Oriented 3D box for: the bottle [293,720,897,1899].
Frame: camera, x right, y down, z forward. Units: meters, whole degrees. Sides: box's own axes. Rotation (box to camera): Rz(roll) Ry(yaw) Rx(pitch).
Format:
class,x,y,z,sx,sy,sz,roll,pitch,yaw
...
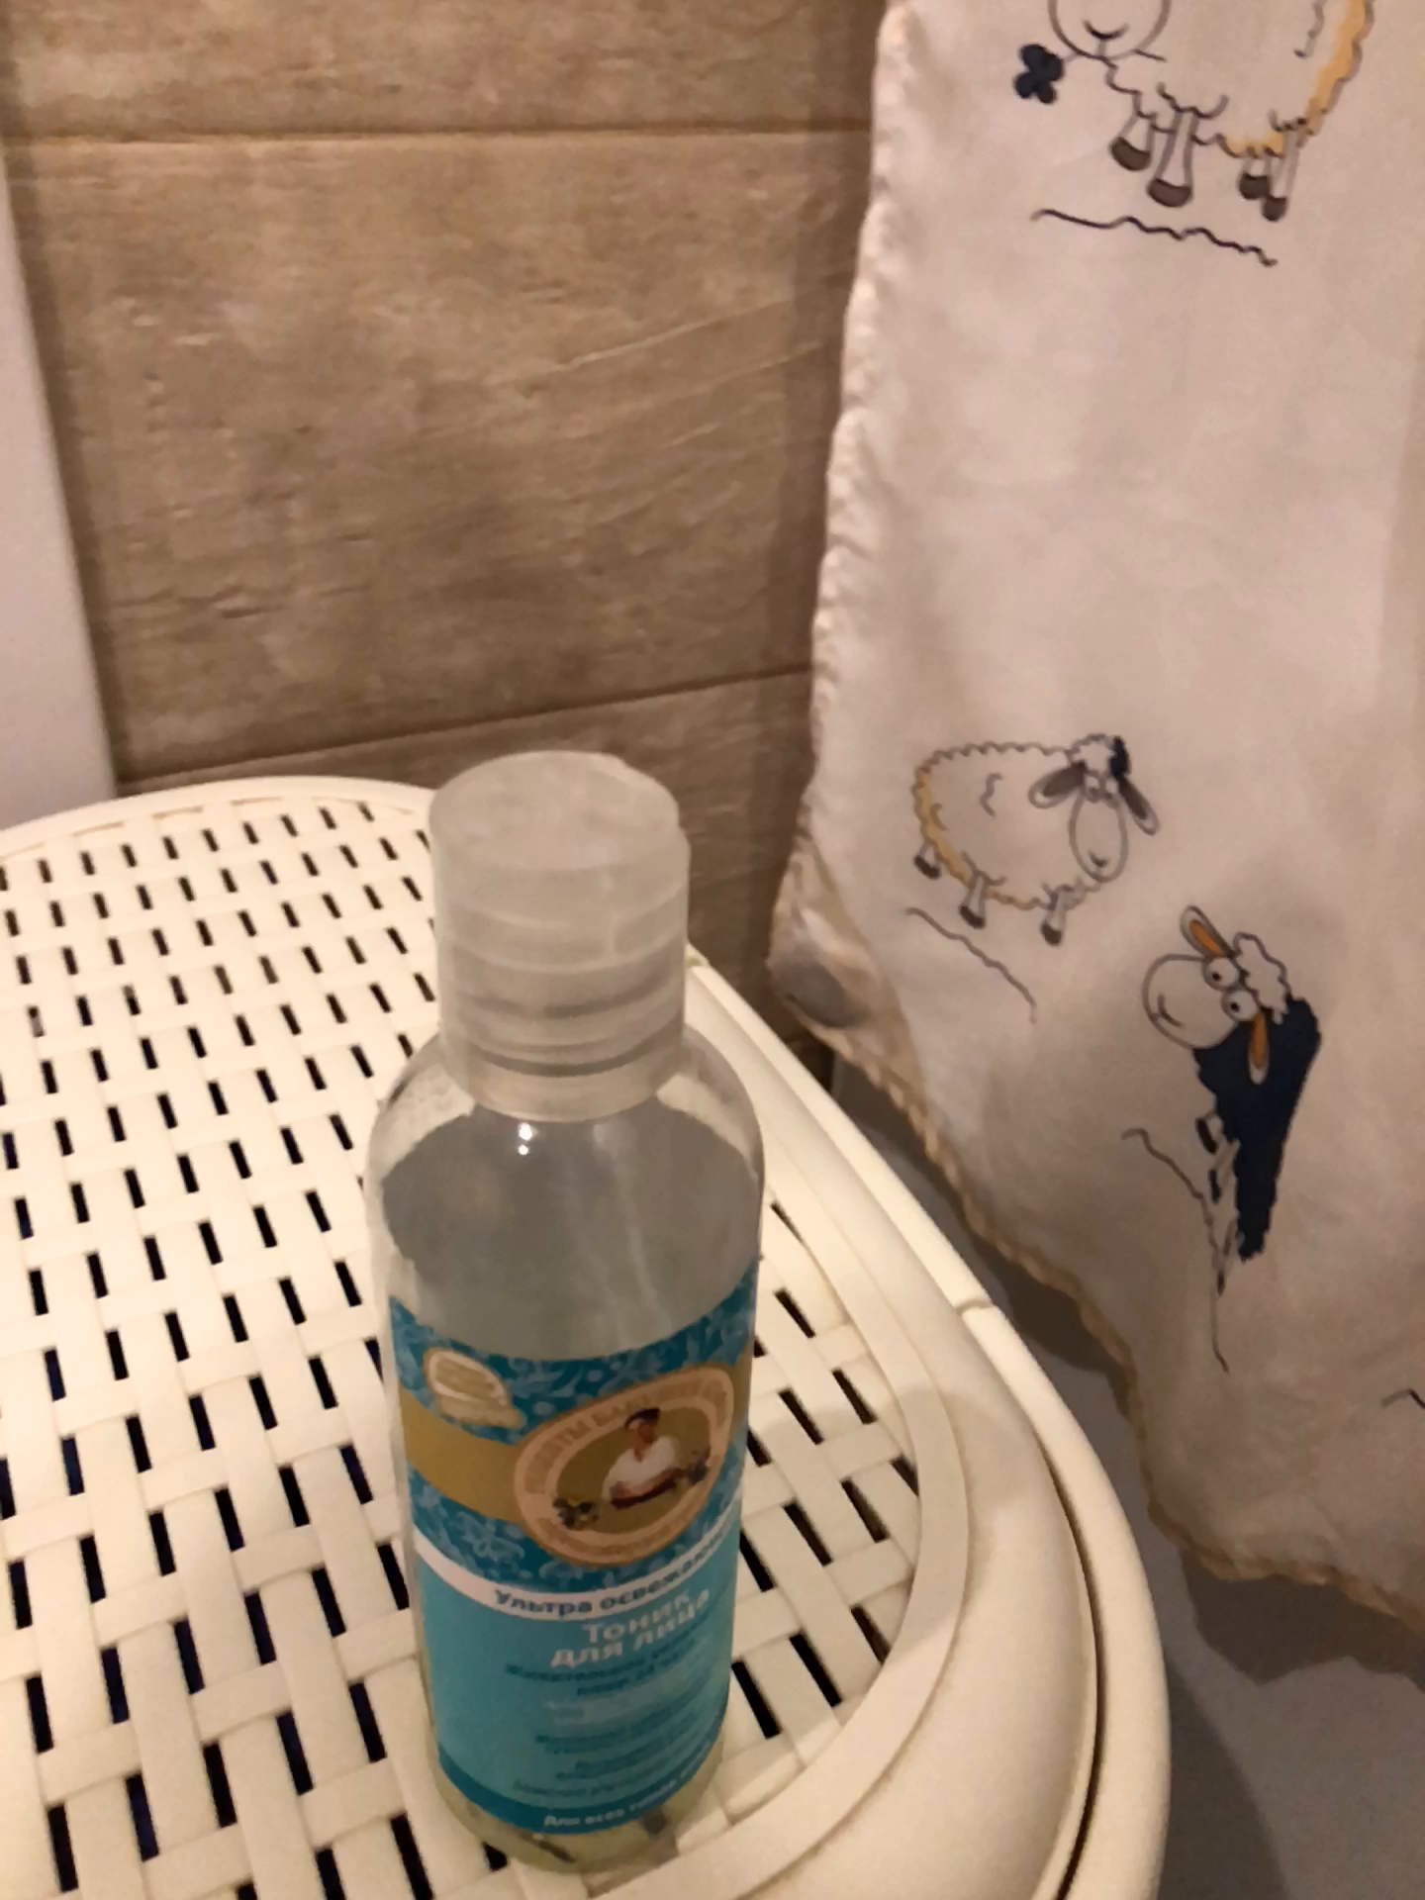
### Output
class,x,y,z,sx,sy,sz,roll,pitch,yaw
bottle,-0.017,0.054,0.198,0.045,0.153,0.045,2,34,-2
